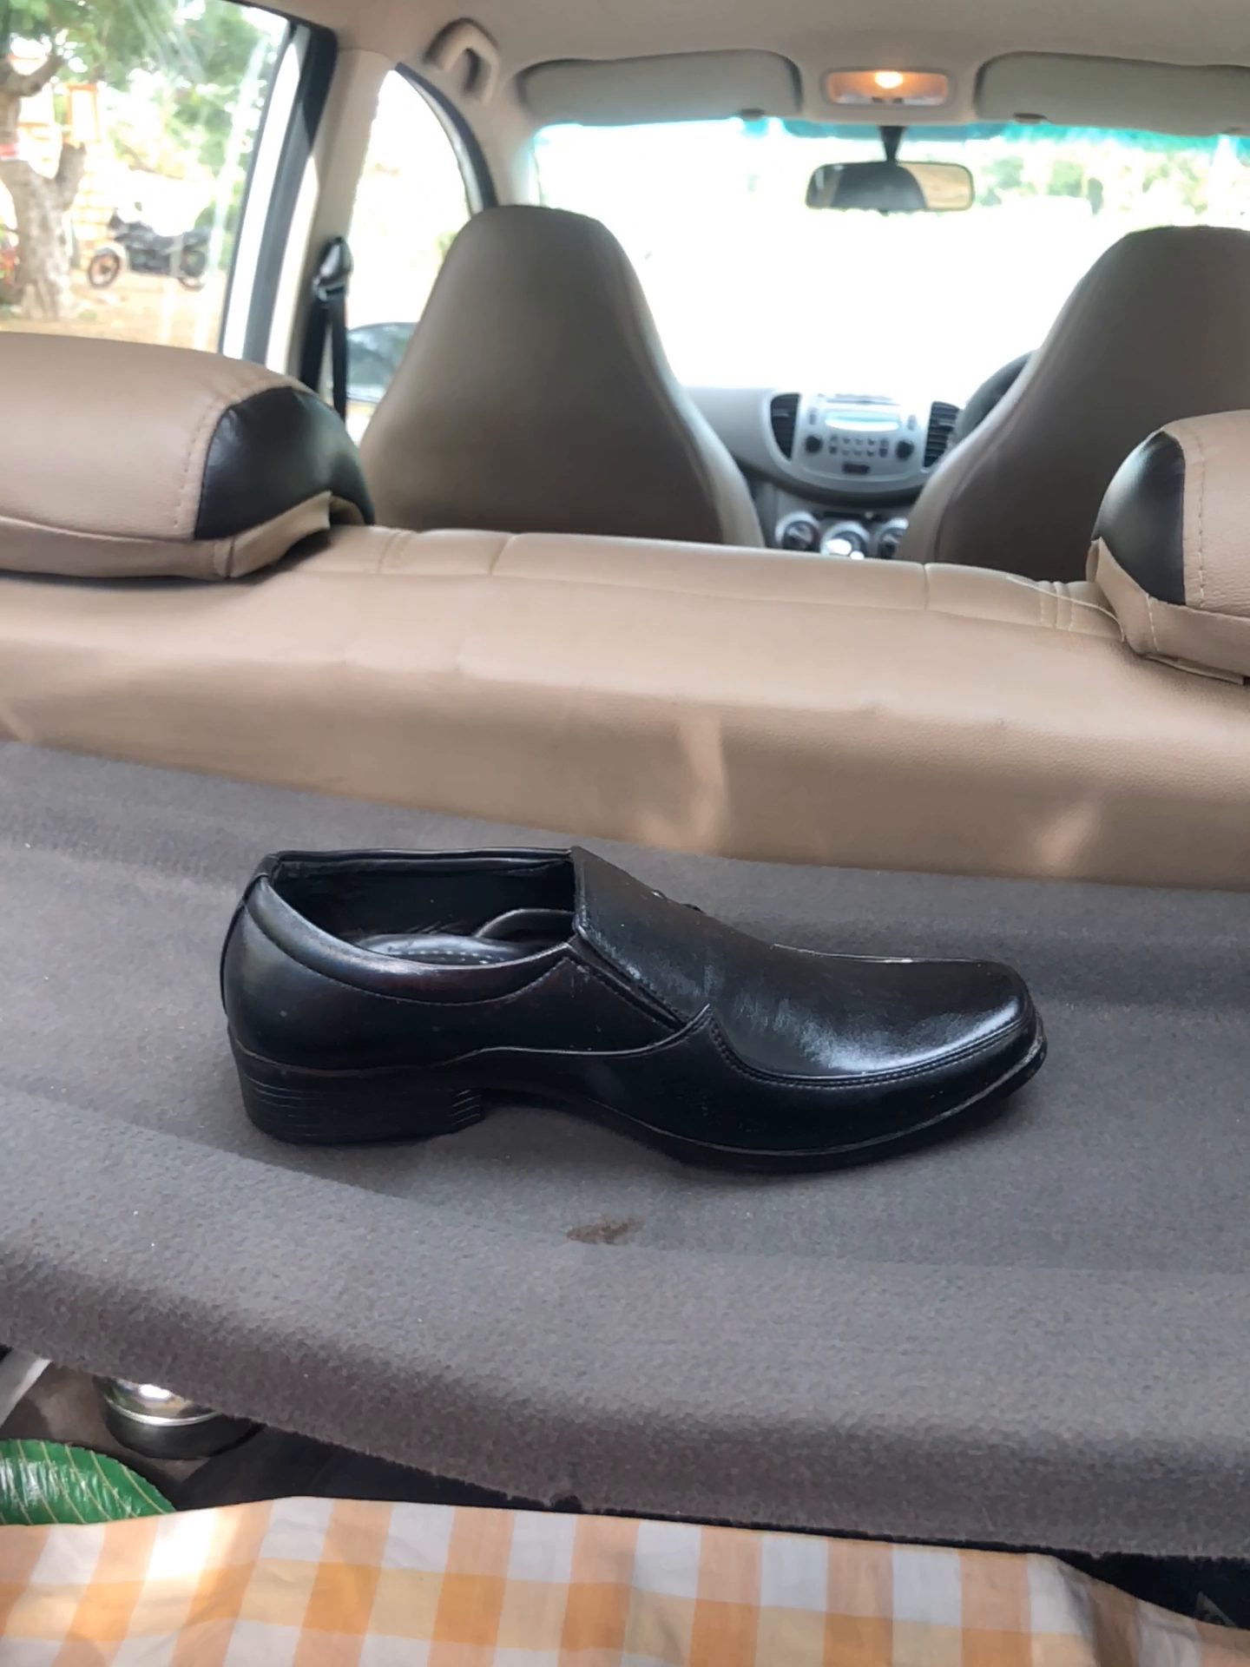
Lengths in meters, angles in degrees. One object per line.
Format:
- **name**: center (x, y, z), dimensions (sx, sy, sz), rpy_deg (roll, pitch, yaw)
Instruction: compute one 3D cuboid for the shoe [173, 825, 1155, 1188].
- **shoe**: center (0.011, 0.057, 0.483), dimensions (0.300, 0.080, 0.100), rpy_deg (1, 23, -2)
